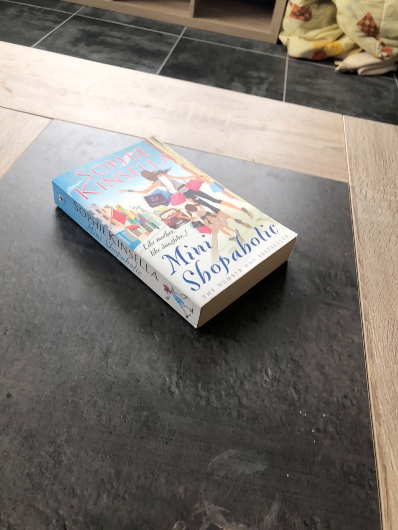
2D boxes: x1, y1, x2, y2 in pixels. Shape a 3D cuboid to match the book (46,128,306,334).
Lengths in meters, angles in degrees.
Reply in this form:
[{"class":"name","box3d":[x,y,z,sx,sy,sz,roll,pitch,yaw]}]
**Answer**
[{"class":"book","box3d":[-0.025,-0.046,0.405,0.200,0.036,0.132,39,53,25]}]
